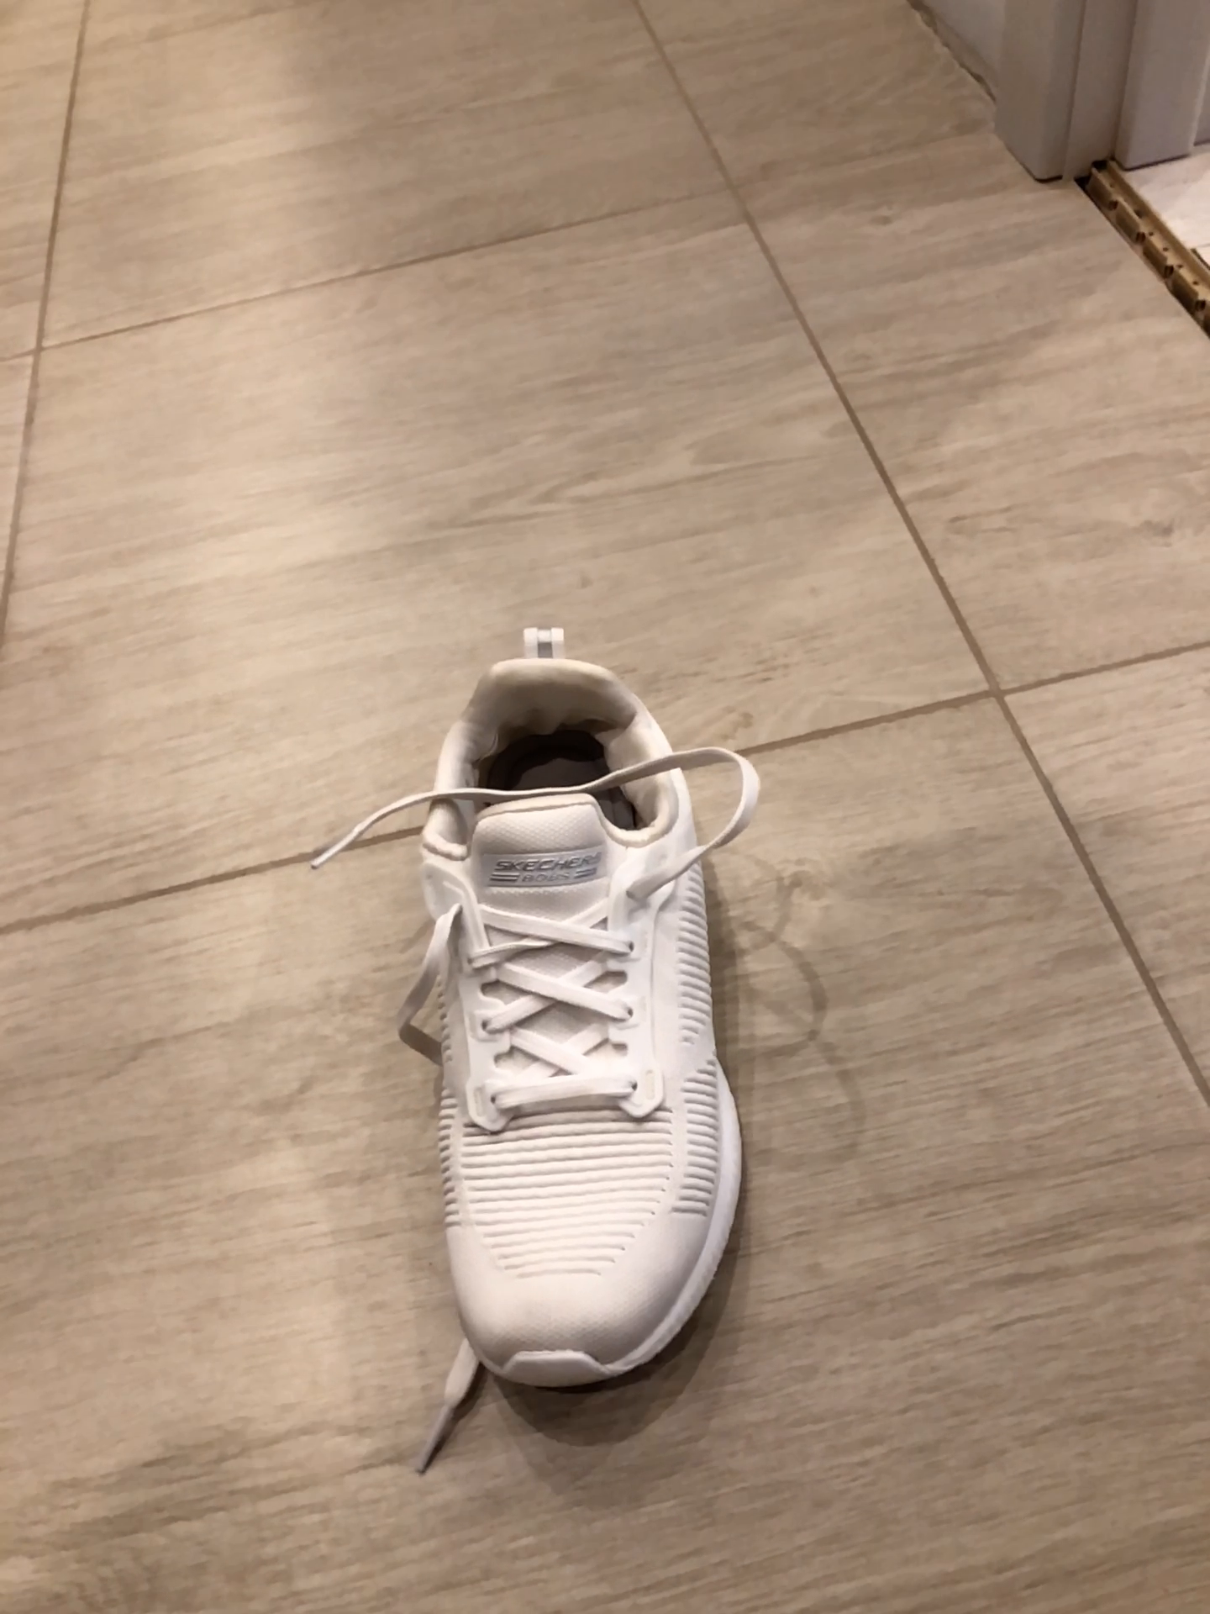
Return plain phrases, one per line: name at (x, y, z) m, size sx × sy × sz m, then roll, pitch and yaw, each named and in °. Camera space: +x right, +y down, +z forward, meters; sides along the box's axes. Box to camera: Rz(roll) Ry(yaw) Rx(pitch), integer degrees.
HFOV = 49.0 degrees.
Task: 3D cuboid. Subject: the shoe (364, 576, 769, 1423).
shoe at (-0.008, 0.056, 0.424) m, size 0.090 × 0.119 × 0.231 m, roll -7°, pitch 53°, yaw 5°
